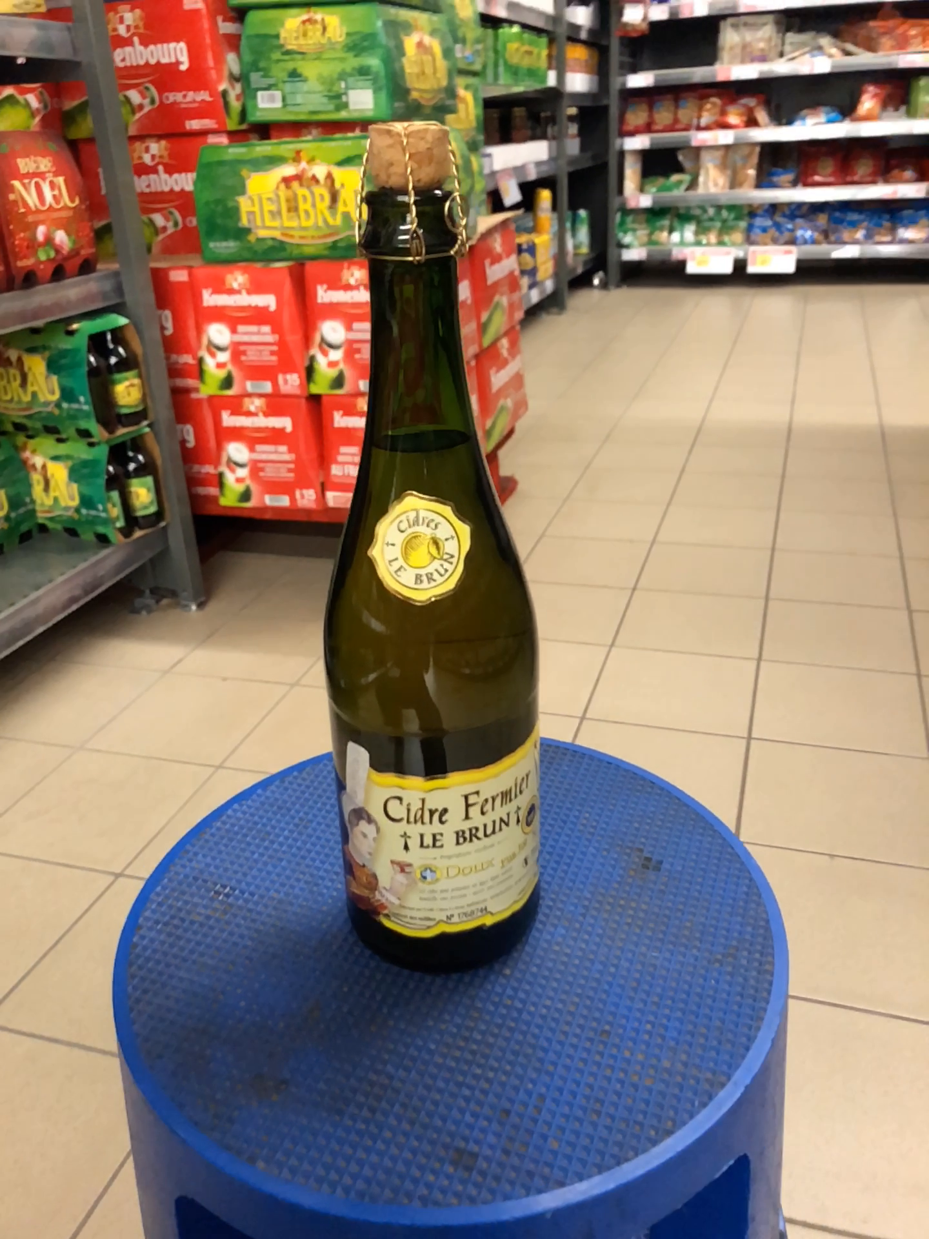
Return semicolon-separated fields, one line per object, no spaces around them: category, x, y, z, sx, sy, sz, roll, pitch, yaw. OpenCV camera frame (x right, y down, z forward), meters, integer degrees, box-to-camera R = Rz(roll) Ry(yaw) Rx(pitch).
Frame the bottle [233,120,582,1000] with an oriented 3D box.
bottle;-0.015;-0.015;0.377;0.090;0.298;0.090;-3;25;1
